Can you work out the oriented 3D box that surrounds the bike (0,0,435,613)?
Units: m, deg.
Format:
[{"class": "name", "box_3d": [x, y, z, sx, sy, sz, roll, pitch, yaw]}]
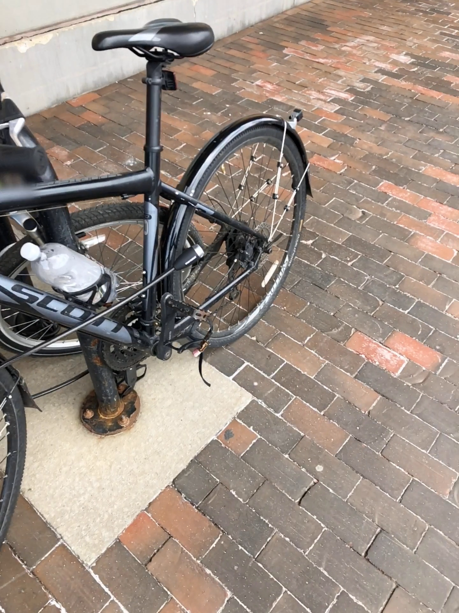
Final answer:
[{"class": "bike", "box_3d": [-0.283, 0.000, 1.003, 0.673, 0.940, 1.517, 25, 53, 21]}]
